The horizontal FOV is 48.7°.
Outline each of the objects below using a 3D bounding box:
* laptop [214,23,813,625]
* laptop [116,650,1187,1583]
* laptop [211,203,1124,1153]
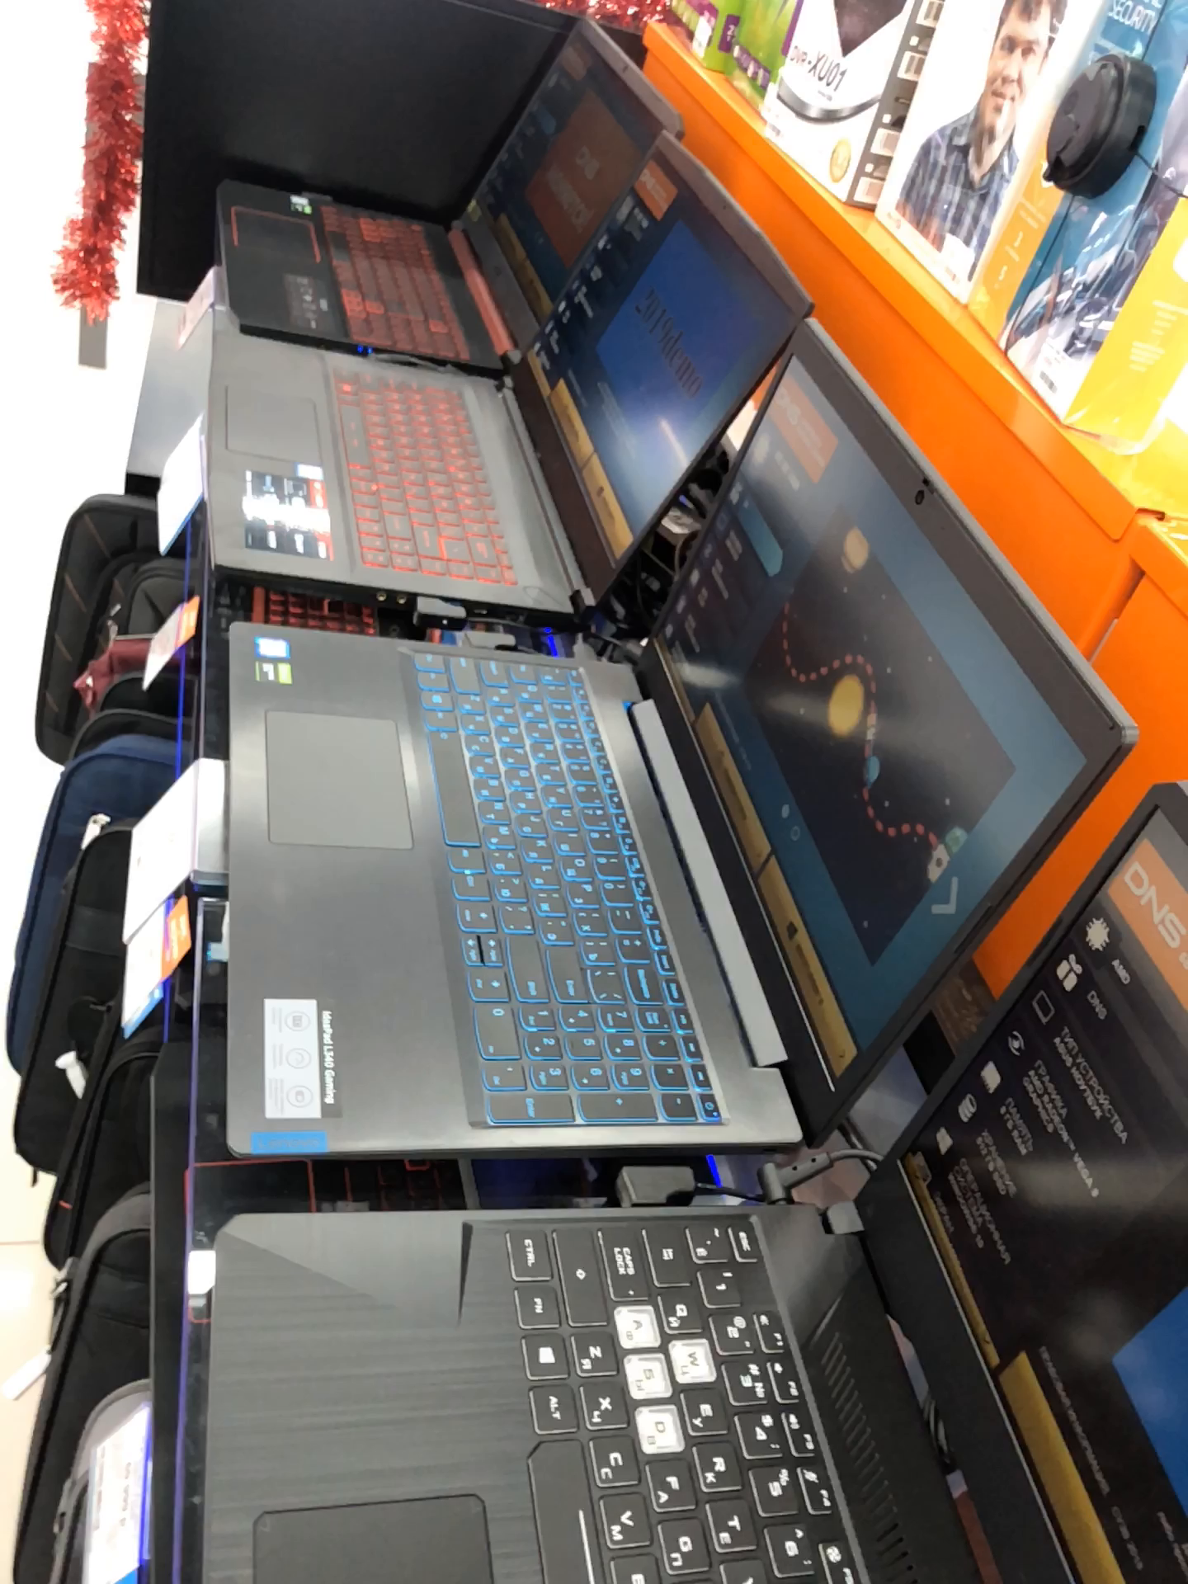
[{"bbox_3d":[-0.089,-0.329,0.916,0.319,0.224,0.357,4,40,-20],"label":"laptop"},{"bbox_3d":[0.055,0.191,0.307,0.273,0.244,0.369,6,39,-18],"label":"laptop"},{"bbox_3d":[-0.015,-0.059,0.601,0.278,0.235,0.358,5,39,-19],"label":"laptop"}]
